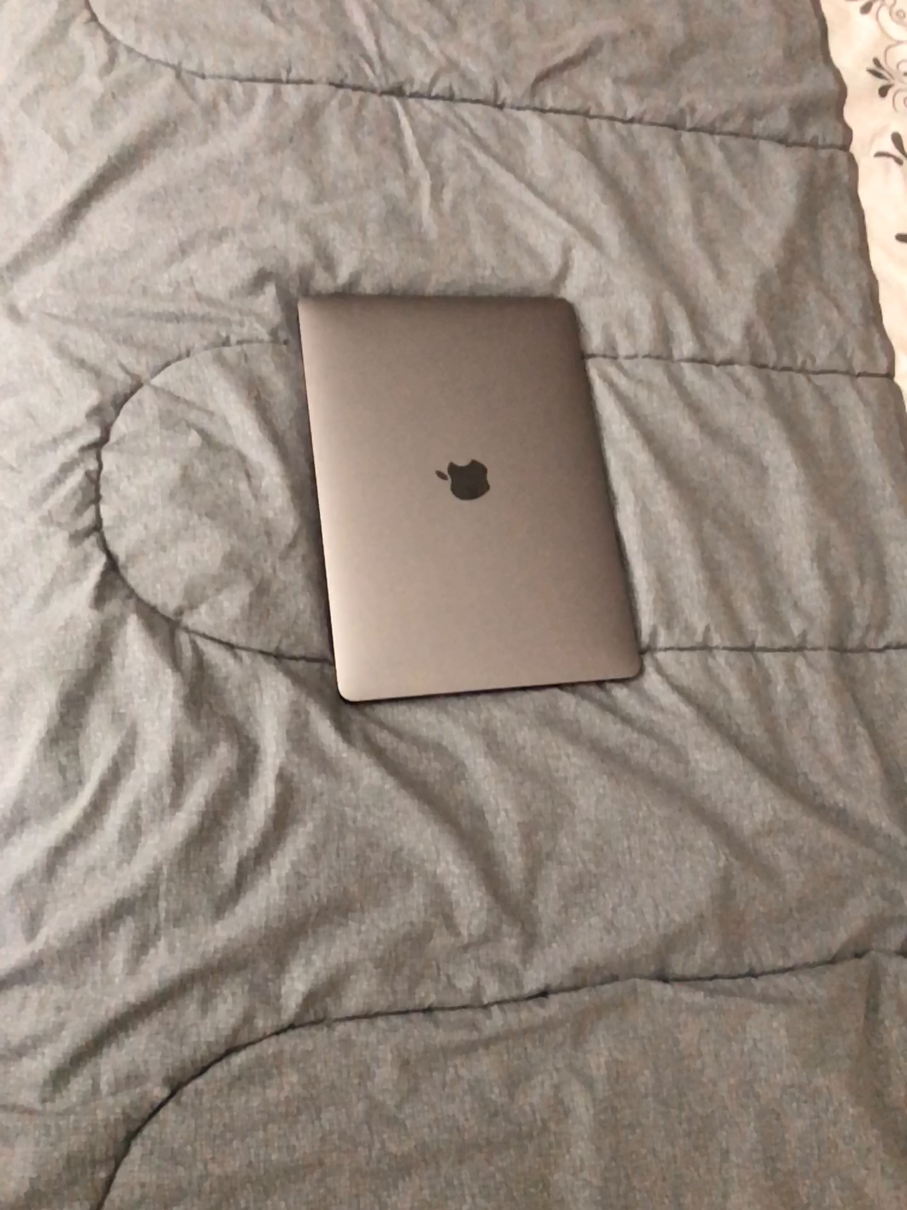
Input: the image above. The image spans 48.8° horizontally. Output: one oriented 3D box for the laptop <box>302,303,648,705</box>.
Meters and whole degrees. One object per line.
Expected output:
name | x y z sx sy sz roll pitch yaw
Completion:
laptop | 0.011 -0.084 0.708 0.207 0.008 0.295 -4 72 -13
